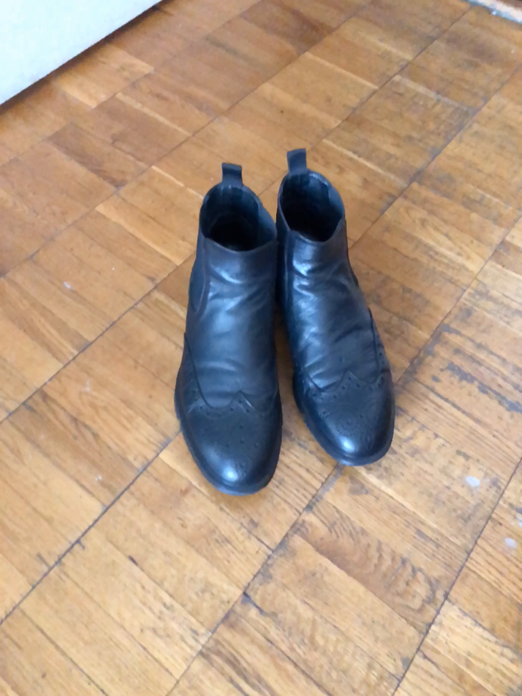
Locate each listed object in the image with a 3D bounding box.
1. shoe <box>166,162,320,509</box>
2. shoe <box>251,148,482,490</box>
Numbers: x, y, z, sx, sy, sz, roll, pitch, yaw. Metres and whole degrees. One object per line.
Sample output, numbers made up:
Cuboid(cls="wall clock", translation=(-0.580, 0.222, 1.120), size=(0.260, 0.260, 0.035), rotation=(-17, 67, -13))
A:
Cuboid(cls="shoe", translation=(-0.029, -0.019, 0.549), size=(0.110, 0.139, 0.301), rotation=(-3, 59, -5))
Cuboid(cls="shoe", translation=(0.079, -0.037, 0.568), size=(0.110, 0.139, 0.301), rotation=(-10, 59, -9))
